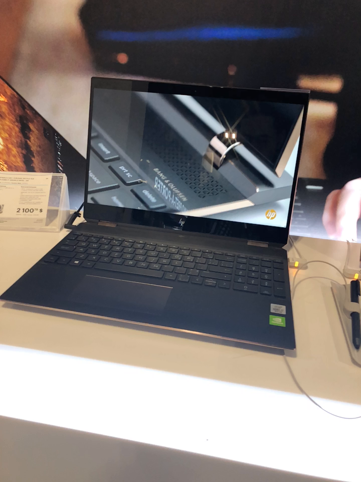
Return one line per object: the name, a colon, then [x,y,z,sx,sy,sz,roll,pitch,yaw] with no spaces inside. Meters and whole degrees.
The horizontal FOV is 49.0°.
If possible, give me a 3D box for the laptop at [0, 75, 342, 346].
laptop: [-0.011,-0.081,0.535,0.332,0.226,0.323,8,25,6]
